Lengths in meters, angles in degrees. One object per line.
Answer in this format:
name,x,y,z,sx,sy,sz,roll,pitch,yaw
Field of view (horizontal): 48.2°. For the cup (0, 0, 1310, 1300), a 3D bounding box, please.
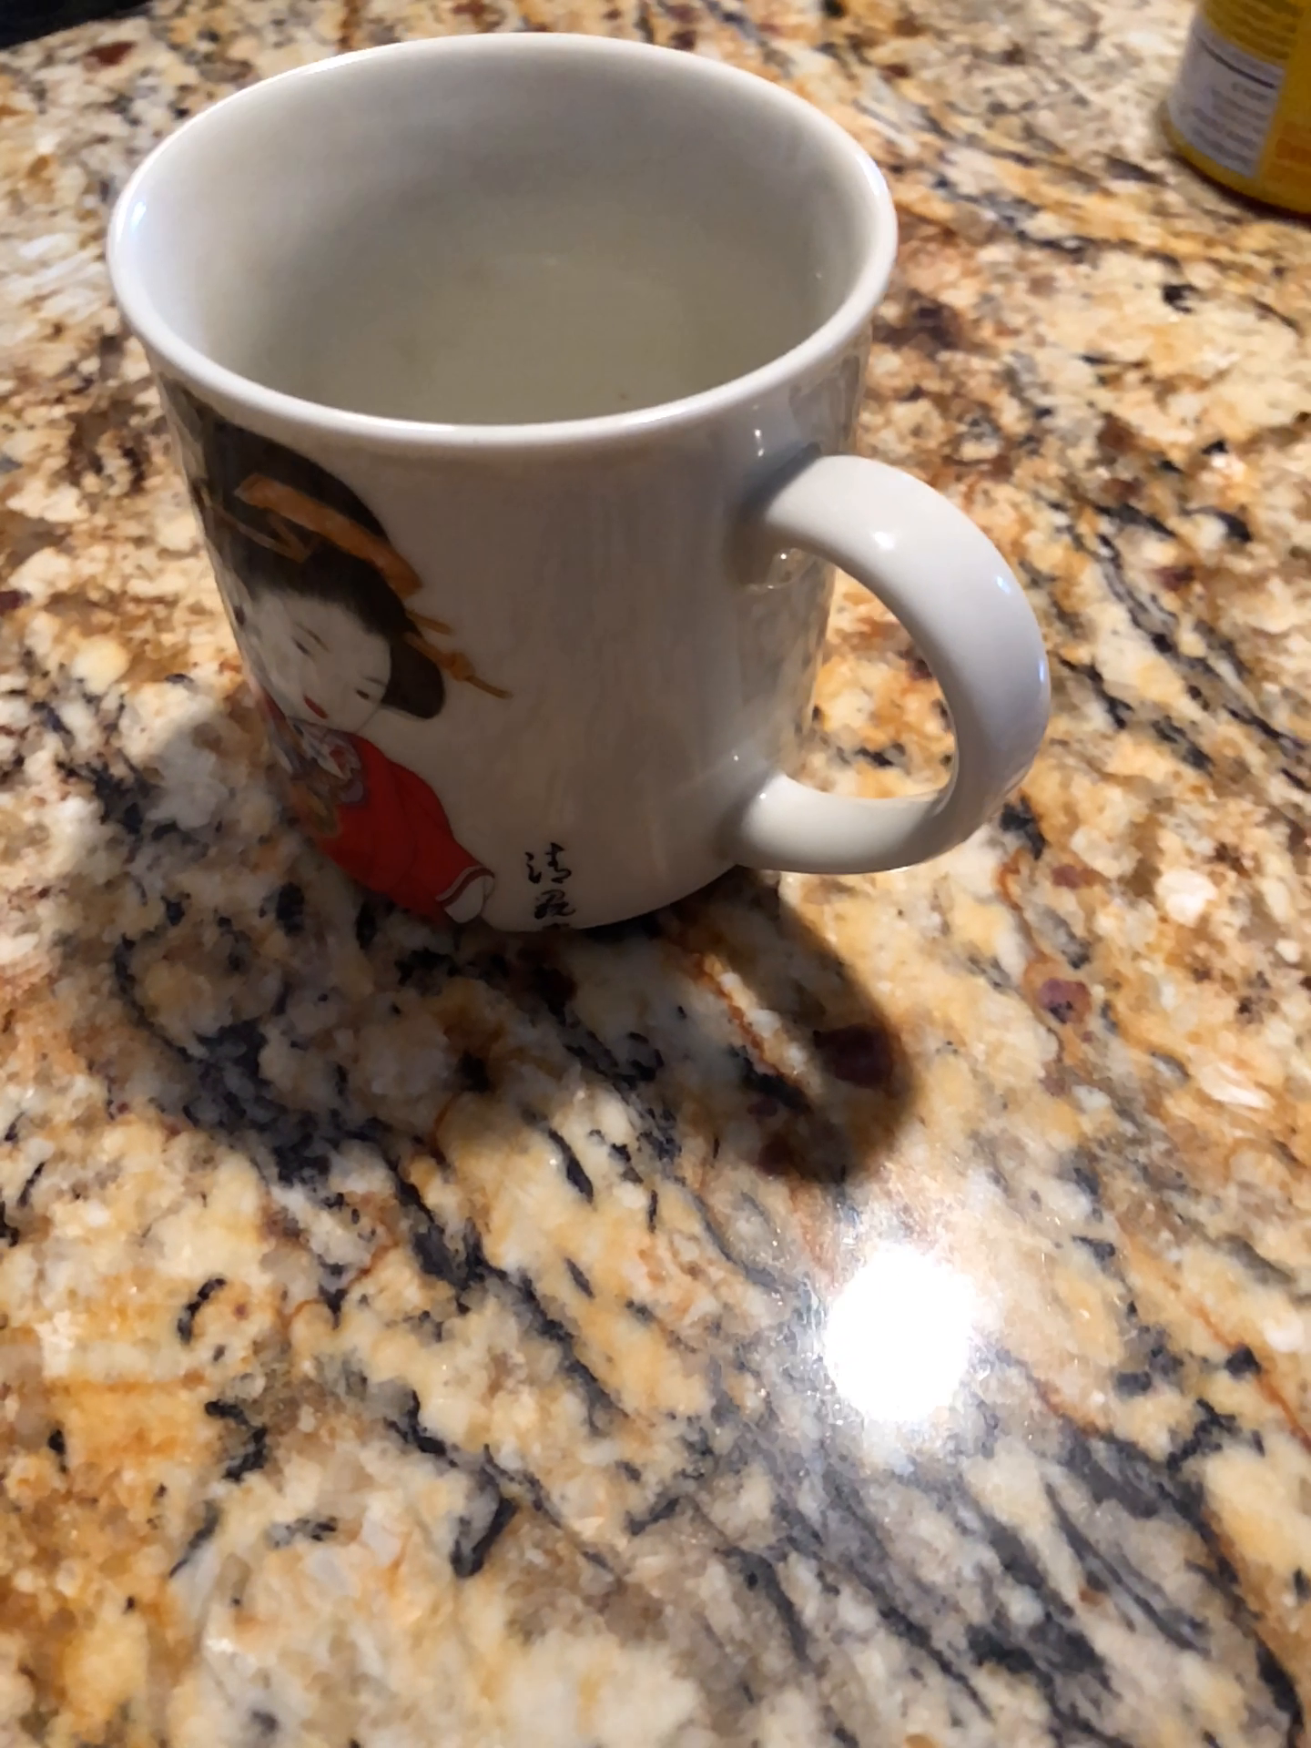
cup,-0.003,-0.035,0.180,0.120,0.090,0.090,32,59,22
